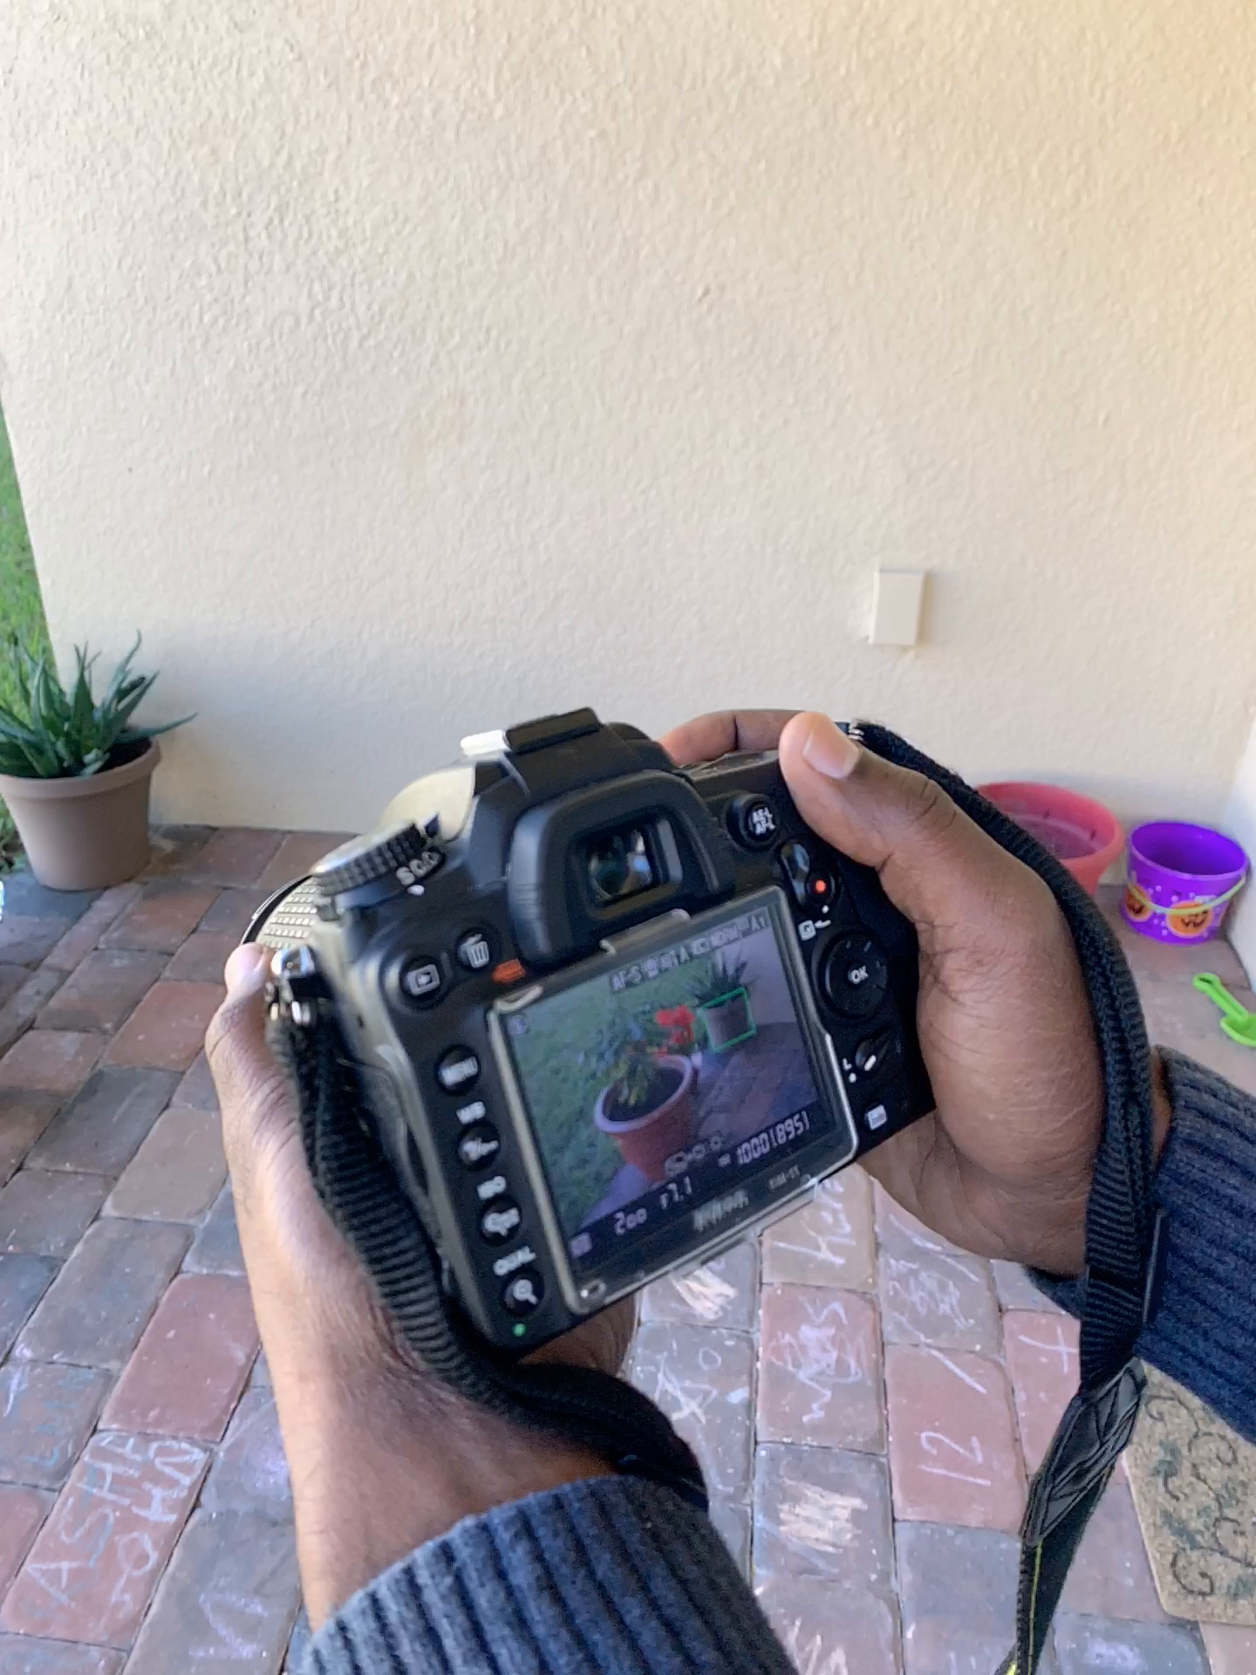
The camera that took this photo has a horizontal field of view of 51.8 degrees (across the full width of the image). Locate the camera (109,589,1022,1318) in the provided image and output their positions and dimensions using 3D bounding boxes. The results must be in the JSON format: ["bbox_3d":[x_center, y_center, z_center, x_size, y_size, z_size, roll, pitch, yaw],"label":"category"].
[{"bbox_3d":[-0.032,0.018,0.331,0.131,0.100,0.200,-20,8,-32],"label":"camera"}]
